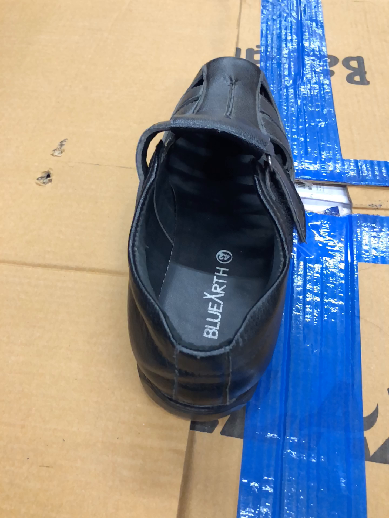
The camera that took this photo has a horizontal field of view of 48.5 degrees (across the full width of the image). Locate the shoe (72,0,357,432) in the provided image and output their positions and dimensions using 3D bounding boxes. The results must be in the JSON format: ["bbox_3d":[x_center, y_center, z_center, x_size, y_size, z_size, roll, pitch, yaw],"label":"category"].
[{"bbox_3d":[0.020,-0.064,0.274,0.100,0.100,0.301,4,58,3],"label":"shoe"}]
